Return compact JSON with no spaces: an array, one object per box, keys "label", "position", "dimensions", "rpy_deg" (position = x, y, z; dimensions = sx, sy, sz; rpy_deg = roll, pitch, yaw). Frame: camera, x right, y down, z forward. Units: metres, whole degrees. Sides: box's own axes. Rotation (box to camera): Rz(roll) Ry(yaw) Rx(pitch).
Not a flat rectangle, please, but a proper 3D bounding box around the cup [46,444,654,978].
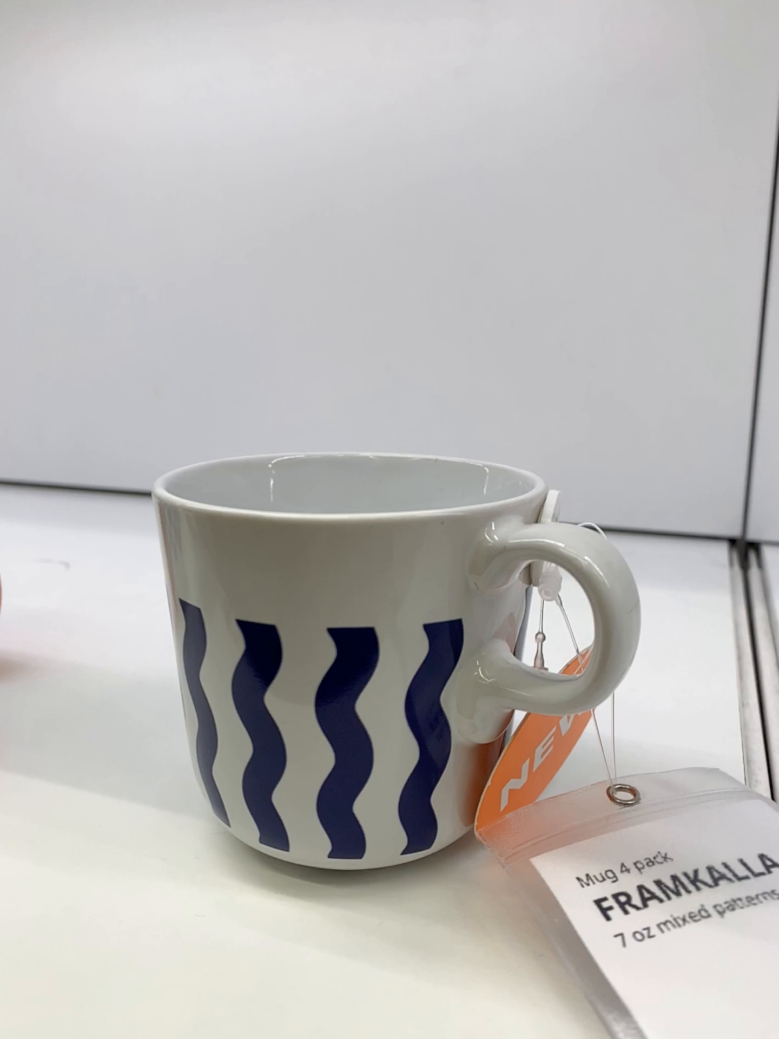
[{"label":"cup","position":[-0.002,0.025,0.173],"dimensions":[0.101,0.071,0.076],"rpy_deg":[4,12,21]}]
